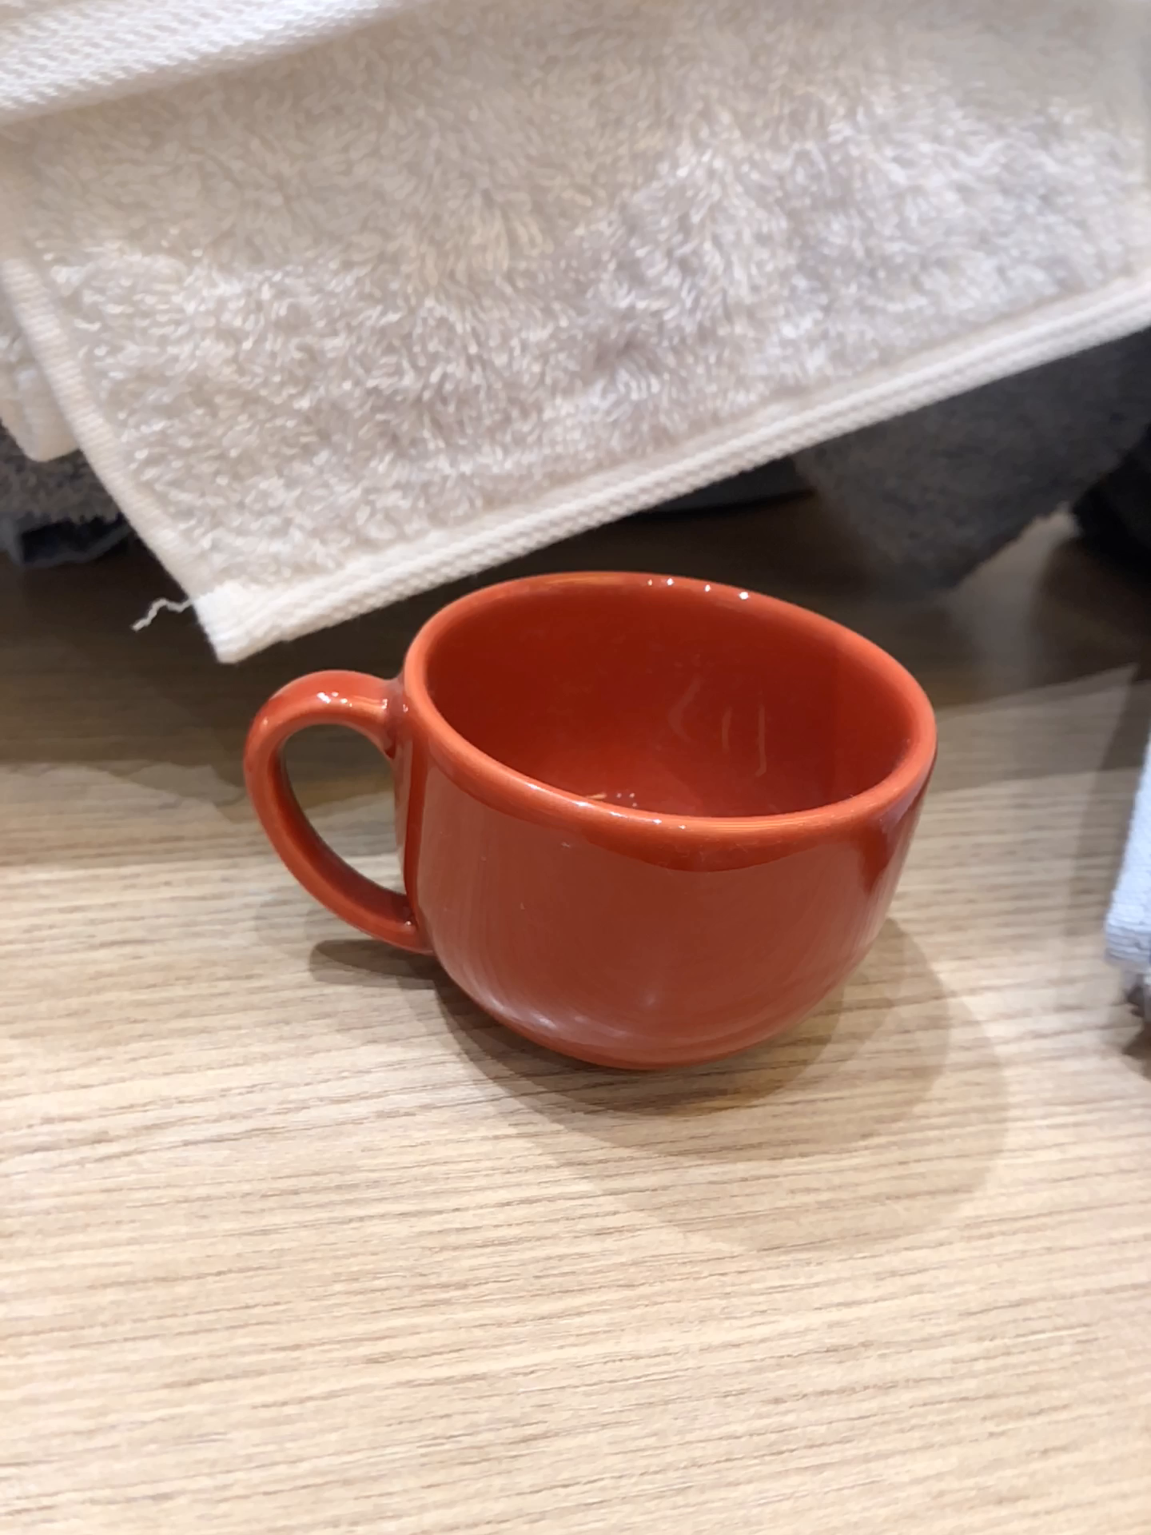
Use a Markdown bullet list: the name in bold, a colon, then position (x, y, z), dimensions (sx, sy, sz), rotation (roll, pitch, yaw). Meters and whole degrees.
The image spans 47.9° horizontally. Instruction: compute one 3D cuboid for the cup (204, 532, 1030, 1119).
- **cup**: position (0.000, 0.005, 0.200), dimensions (0.100, 0.050, 0.081), rotation (1, 32, -10)
